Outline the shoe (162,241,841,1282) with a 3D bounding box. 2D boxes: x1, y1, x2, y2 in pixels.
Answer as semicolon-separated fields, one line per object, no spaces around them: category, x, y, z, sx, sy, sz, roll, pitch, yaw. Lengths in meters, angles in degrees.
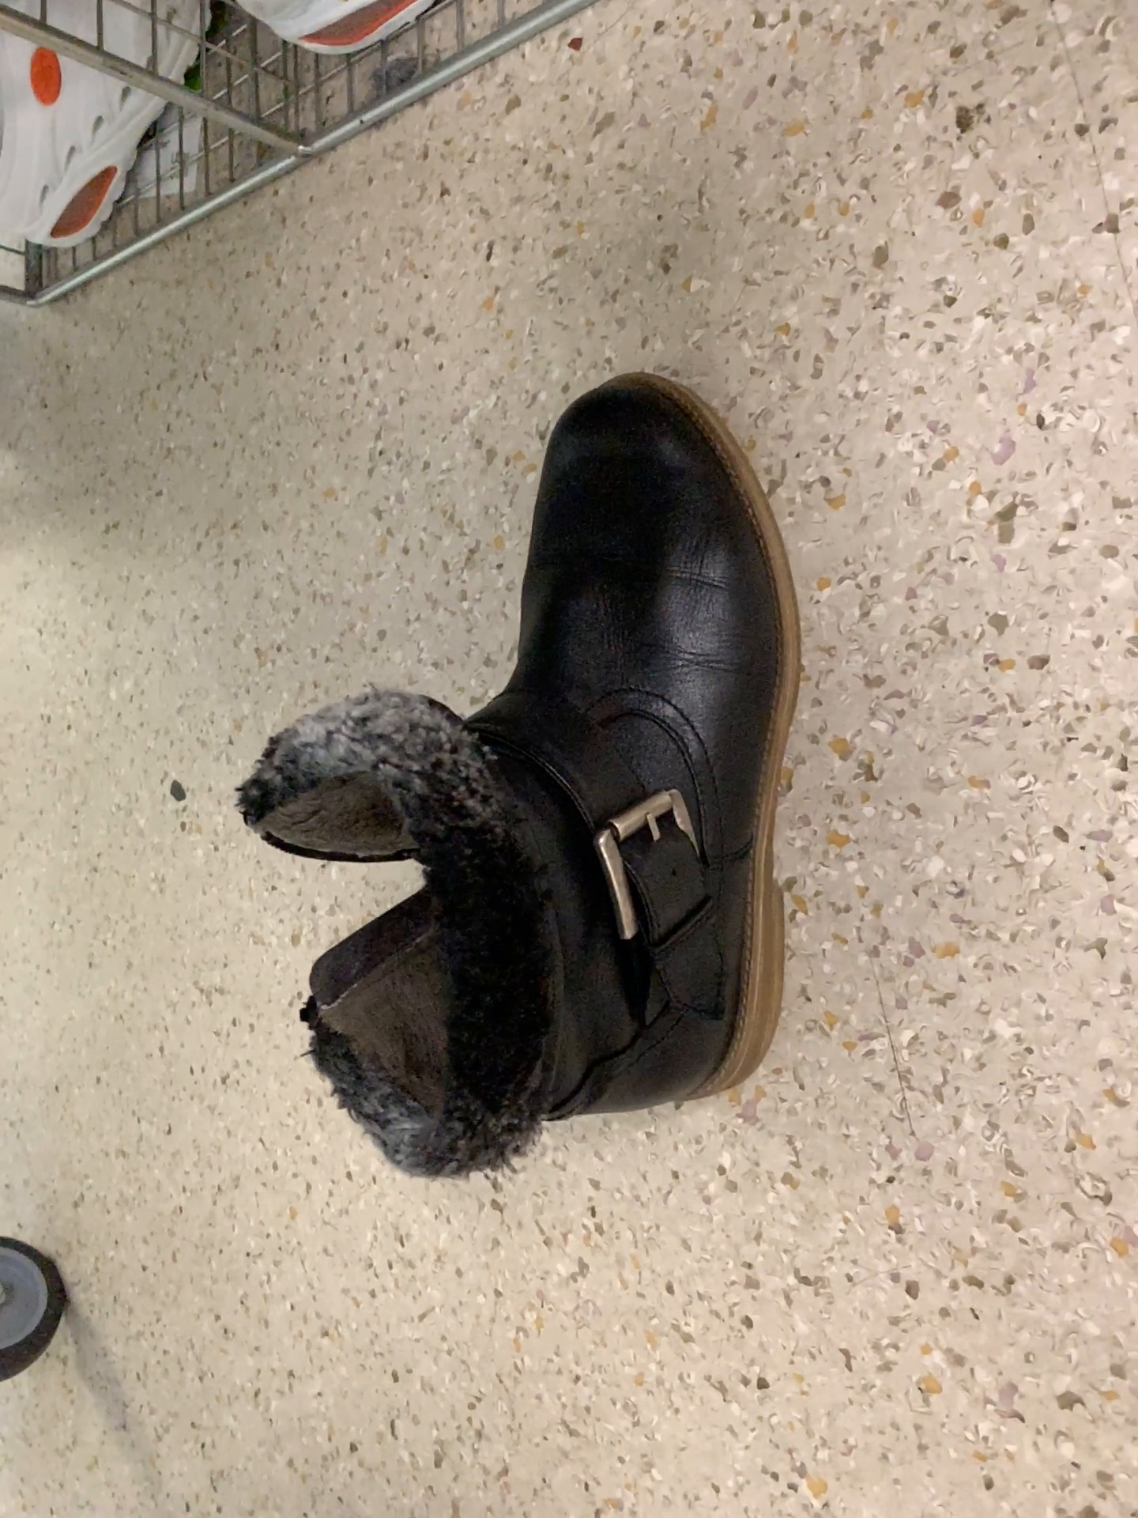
shoe;-0.014;0.001;0.362;0.105;0.168;0.236;-7;87;42
